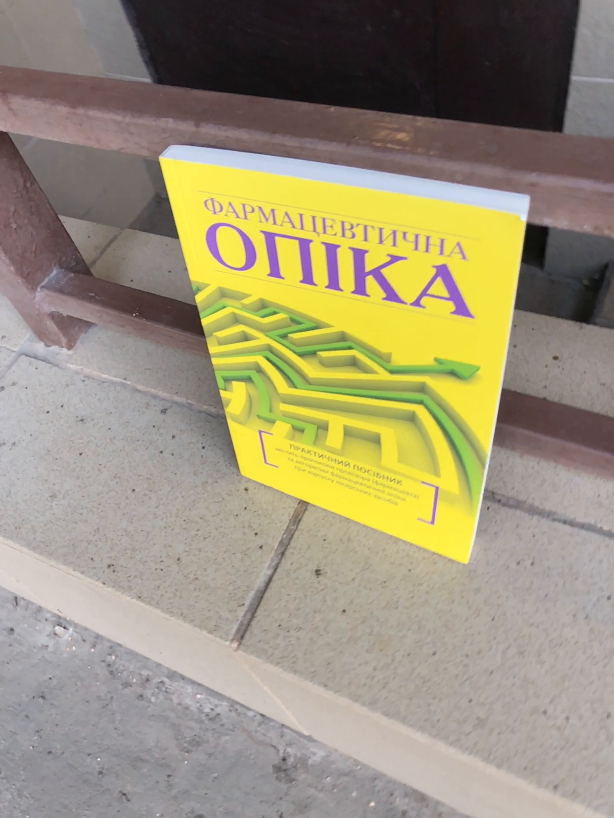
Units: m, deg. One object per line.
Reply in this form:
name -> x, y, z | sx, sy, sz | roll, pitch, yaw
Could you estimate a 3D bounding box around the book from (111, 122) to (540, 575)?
book -> 0.011, -0.018, 0.361 | 0.180, 0.239, 0.030 | 18, 53, 23
